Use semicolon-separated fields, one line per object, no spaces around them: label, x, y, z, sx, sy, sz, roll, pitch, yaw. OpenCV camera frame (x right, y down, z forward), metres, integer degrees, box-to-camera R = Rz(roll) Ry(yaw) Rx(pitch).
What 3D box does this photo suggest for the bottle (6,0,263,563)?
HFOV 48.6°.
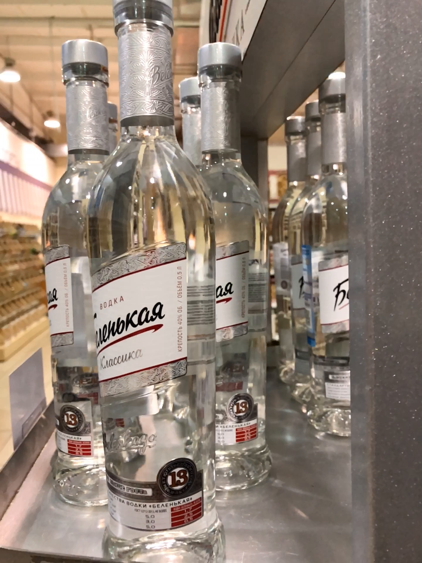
bottle;-0.035;-0.011;0.239;0.080;0.310;0.080;-2;4;0
